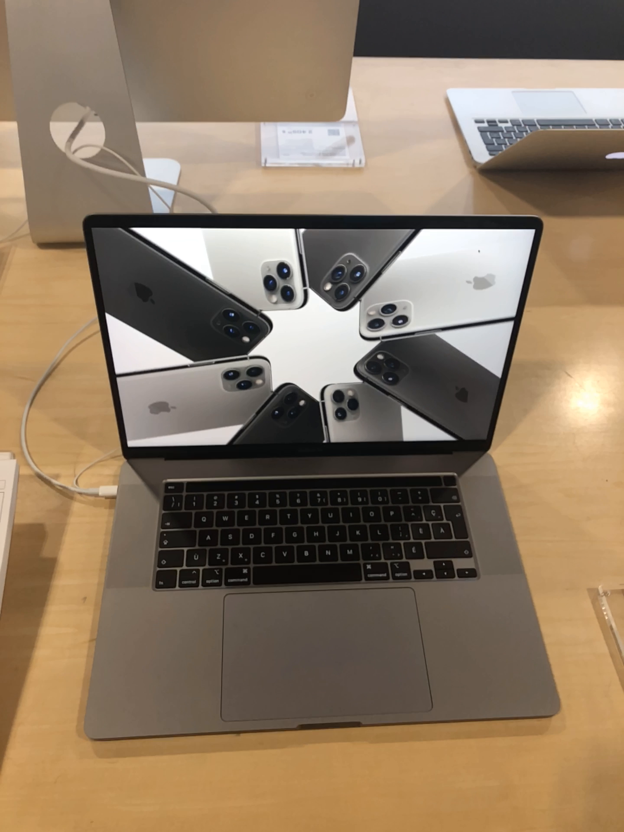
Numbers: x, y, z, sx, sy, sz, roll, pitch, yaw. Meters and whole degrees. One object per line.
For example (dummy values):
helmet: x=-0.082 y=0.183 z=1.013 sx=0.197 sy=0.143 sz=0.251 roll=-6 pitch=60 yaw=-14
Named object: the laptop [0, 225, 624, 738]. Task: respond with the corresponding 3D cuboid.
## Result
laptop: x=0.011 y=0.042 z=0.513 sx=0.344 sy=0.227 sz=0.292 roll=-1 pitch=51 yaw=-4
